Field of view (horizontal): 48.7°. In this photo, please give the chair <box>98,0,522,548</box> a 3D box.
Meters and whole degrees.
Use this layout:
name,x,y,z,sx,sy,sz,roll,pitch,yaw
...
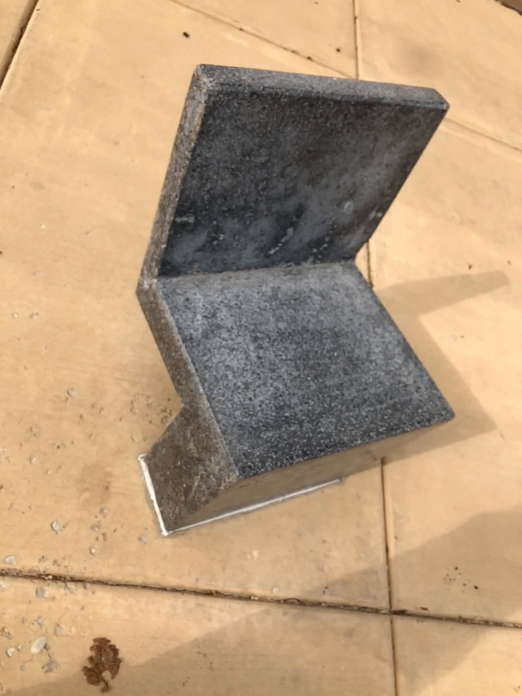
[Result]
name,x,y,z,sx,sy,sz,roll,pitch,yaw
chair,0.100,-0.090,1.141,0.572,0.798,0.560,-8,58,-32
